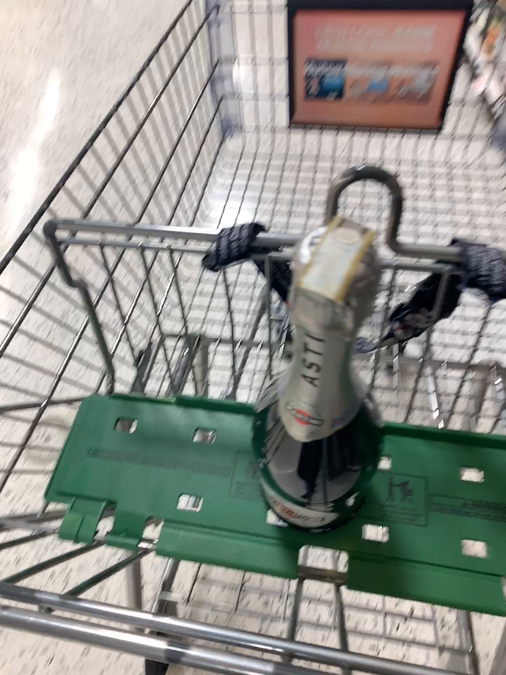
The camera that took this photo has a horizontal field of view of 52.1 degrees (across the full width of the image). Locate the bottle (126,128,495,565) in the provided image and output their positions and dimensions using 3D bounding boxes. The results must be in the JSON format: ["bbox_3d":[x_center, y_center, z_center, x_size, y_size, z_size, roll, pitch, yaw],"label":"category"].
[{"bbox_3d":[0.035,0.041,0.316,0.100,0.288,0.100,-3,58,4],"label":"bottle"}]
